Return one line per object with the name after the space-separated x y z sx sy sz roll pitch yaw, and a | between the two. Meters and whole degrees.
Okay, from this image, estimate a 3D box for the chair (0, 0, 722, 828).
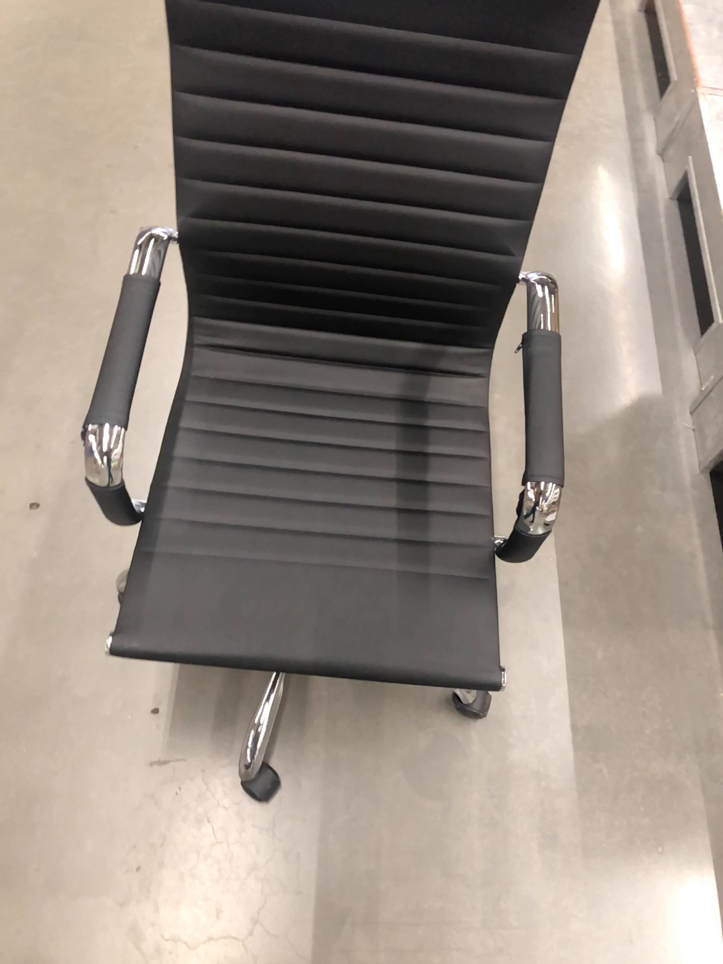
-0.027 -0.035 1.002 0.670 1.095 0.743 8 62 -5 | chair
